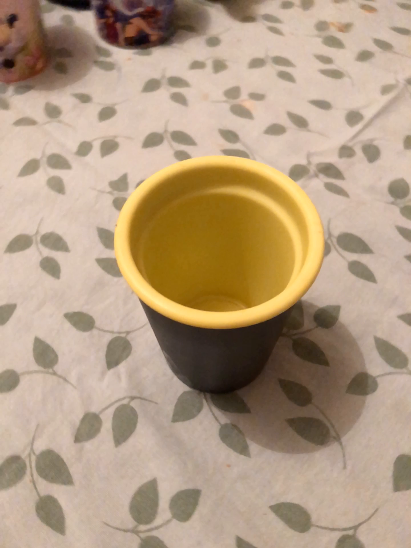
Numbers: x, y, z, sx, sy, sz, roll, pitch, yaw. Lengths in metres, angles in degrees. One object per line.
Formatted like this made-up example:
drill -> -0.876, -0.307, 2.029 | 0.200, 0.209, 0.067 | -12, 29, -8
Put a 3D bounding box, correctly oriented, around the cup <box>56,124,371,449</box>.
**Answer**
cup -> 0.002, 0.012, 0.229 | 0.090, 0.109, 0.090 | 0, 59, 1
